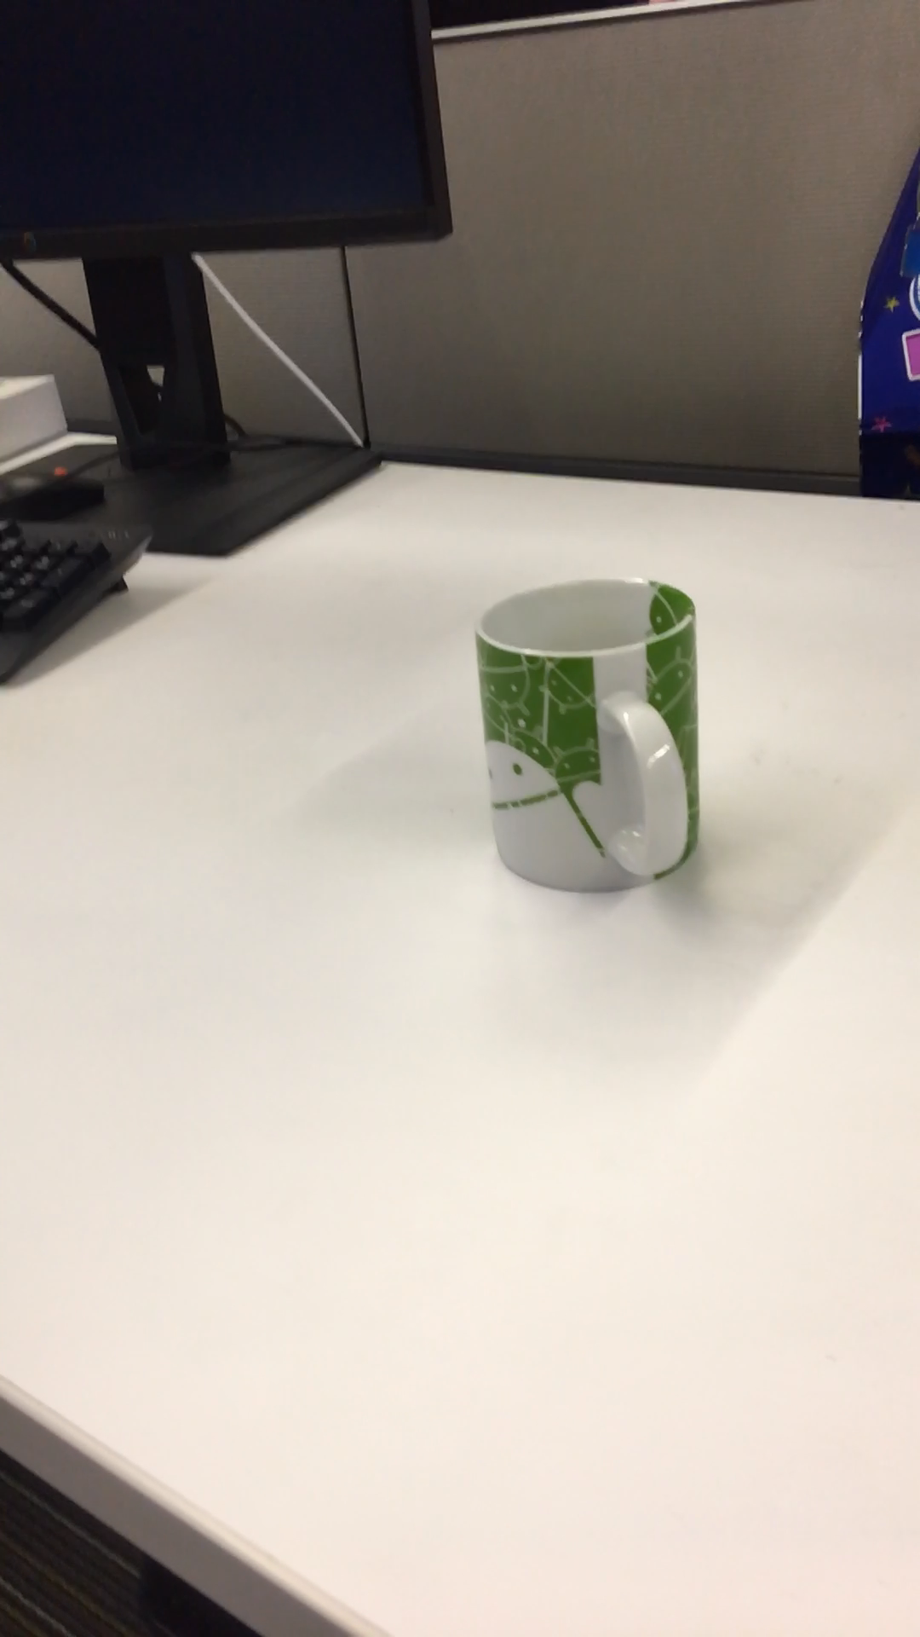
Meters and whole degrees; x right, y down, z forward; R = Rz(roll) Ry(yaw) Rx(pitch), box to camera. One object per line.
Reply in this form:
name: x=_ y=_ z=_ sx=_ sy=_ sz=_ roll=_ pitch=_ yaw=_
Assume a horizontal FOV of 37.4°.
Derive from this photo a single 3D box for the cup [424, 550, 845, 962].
cup: x=0.059 y=-0.028 z=0.475 sx=0.090 sy=0.090 sz=0.110 roll=-22 pitch=32 yaw=-26
